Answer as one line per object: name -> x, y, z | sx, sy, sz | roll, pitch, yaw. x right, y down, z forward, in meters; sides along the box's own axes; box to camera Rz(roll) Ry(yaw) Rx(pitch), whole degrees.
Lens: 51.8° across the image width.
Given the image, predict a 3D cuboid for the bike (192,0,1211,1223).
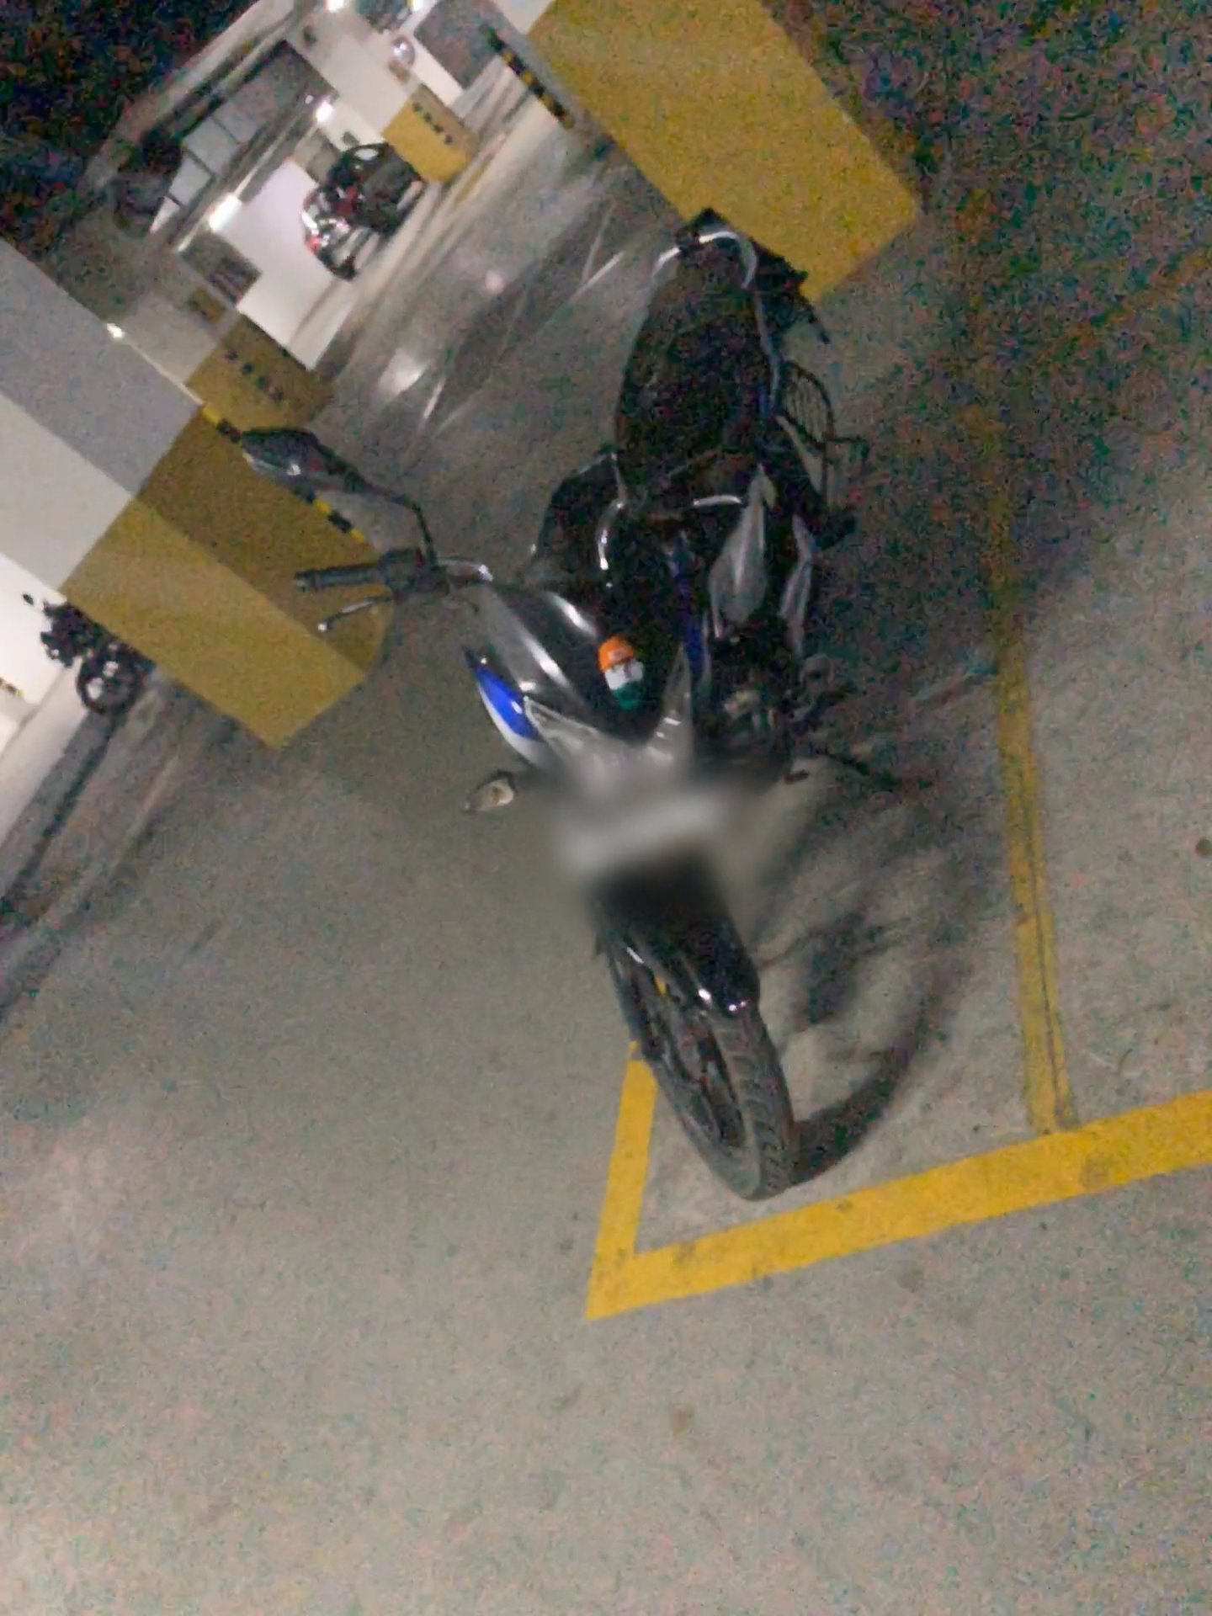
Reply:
bike -> 0.363, -0.602, 2.275 | 0.853, 1.204, 2.217 | -32, 31, 34
